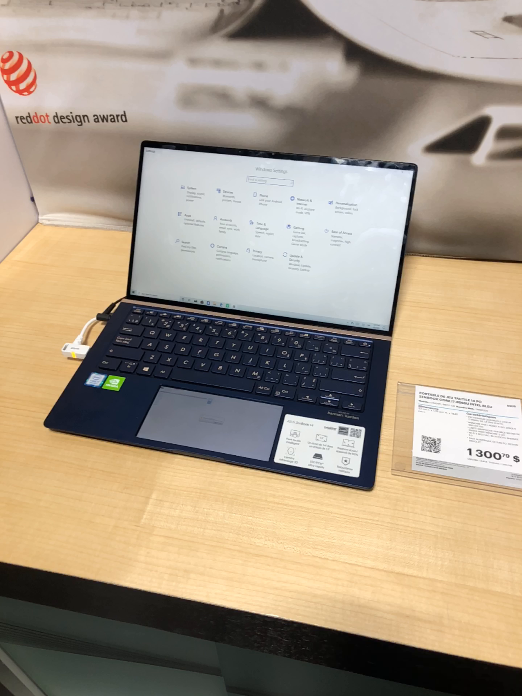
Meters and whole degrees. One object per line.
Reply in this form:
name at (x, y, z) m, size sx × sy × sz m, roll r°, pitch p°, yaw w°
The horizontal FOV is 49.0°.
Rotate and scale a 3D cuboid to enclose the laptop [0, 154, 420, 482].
laptop at (-0.022, -0.059, 0.620) m, size 0.332 × 0.159 × 0.322 m, roll 8°, pitch 43°, yaw 11°
